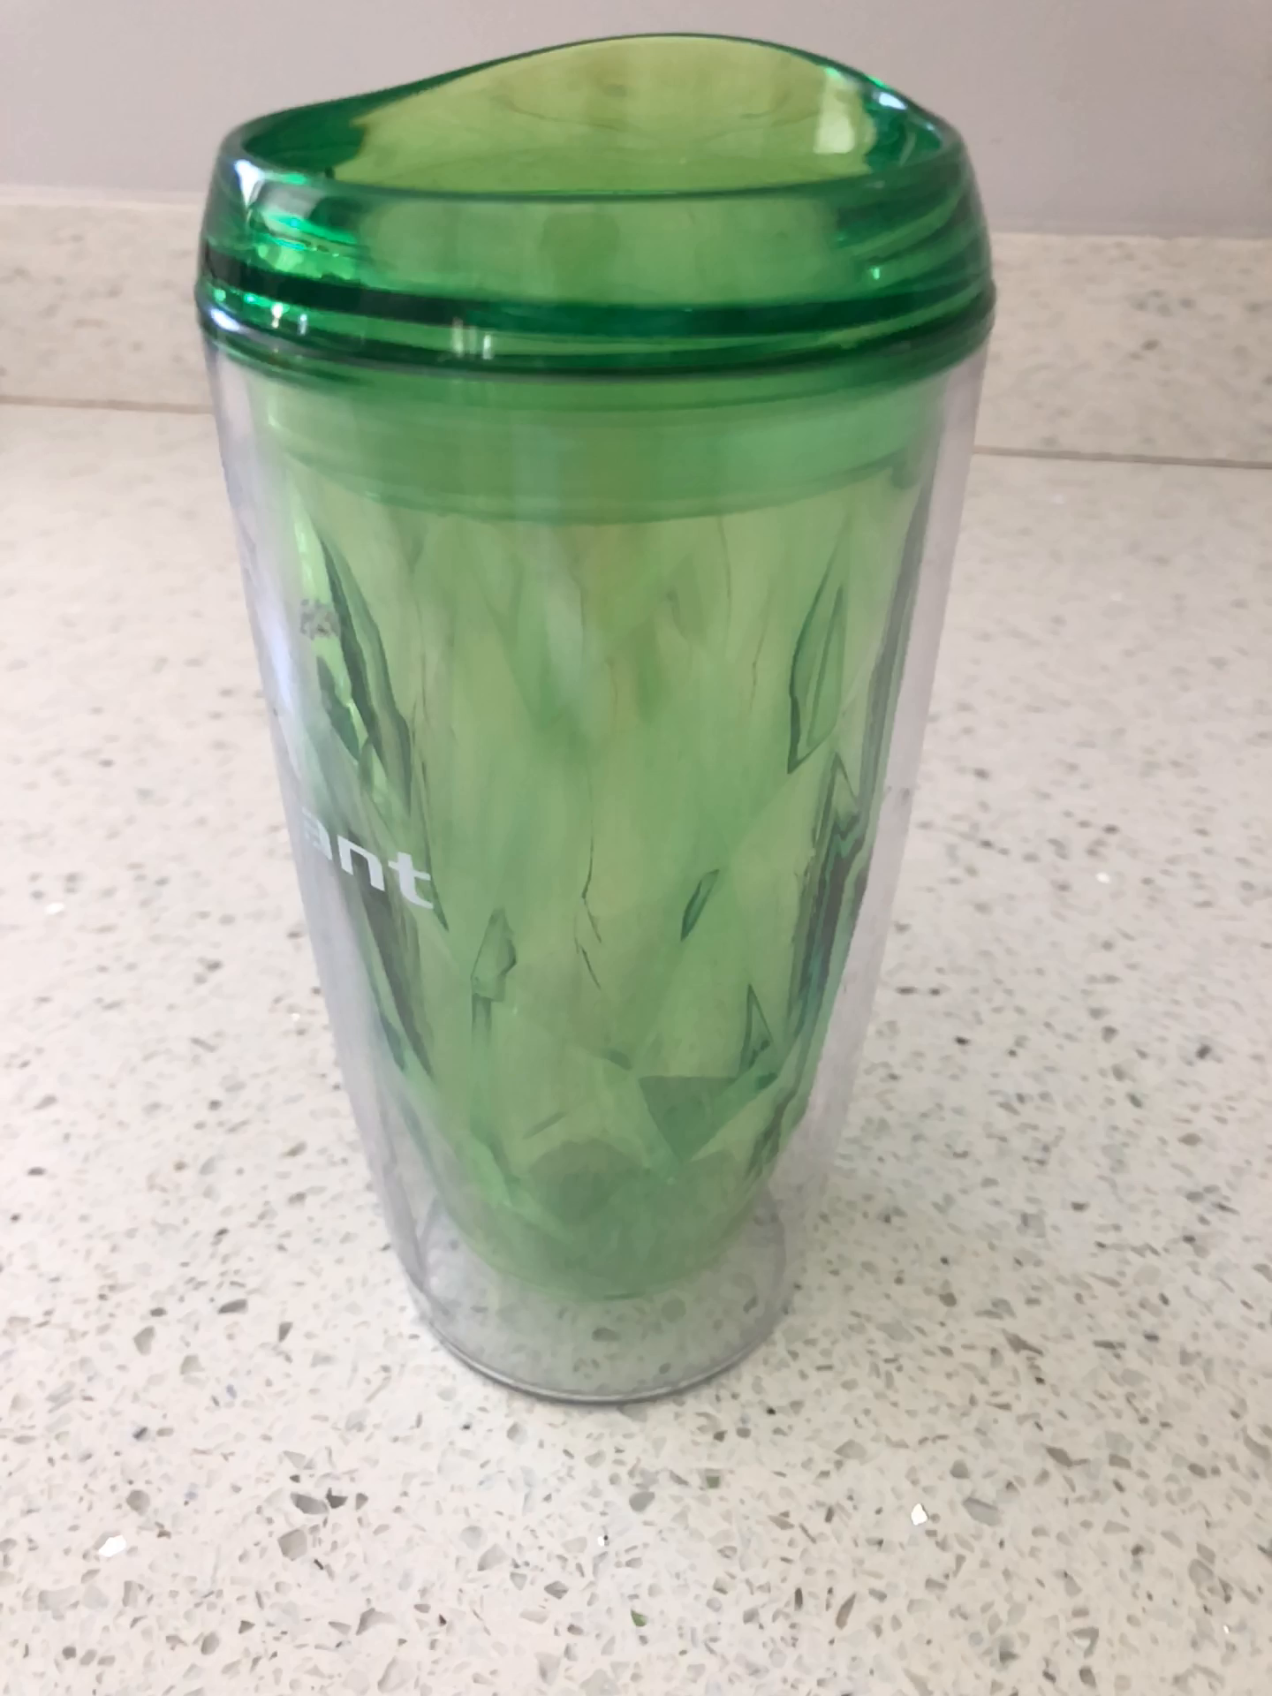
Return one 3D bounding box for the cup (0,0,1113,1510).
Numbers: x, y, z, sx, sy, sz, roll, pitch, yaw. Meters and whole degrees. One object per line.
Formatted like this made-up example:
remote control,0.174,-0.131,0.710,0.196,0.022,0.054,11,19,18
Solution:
cup,-0.004,-0.015,0.185,0.090,0.159,0.090,0,34,0
